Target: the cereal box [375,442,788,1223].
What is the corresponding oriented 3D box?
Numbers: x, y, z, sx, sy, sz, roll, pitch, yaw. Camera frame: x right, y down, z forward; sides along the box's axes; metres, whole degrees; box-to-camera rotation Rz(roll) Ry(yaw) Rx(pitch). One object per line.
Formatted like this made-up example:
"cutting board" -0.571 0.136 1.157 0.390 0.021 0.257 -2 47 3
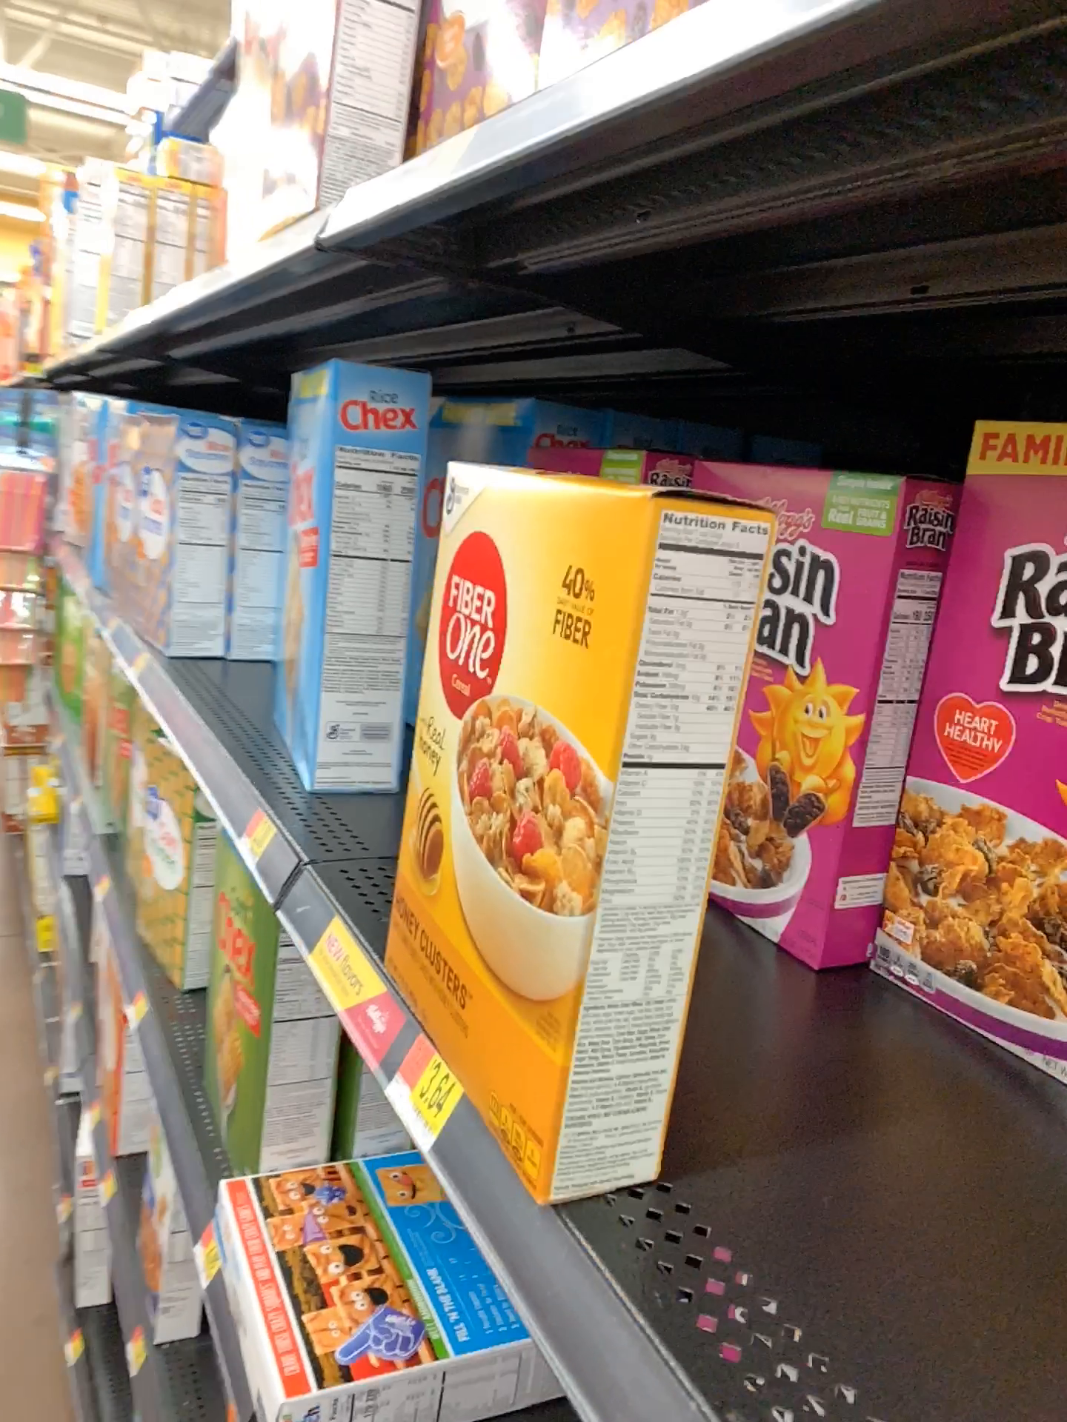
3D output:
"cereal box" 0.000 0.027 0.452 0.050 0.259 0.201 3 12 -25
